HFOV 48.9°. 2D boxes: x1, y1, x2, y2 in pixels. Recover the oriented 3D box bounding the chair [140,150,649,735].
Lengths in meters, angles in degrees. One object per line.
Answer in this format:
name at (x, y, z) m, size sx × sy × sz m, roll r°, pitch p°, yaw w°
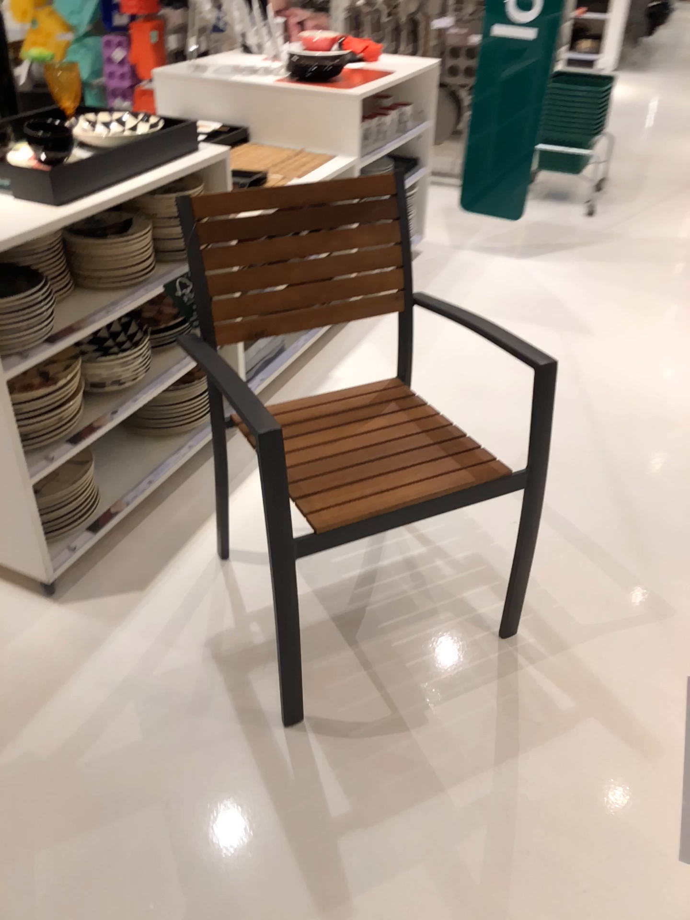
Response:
chair at (0.040, -0.063, 1.379) m, size 0.591 × 0.784 × 0.533 m, roll -15°, pitch 38°, yaw -22°
